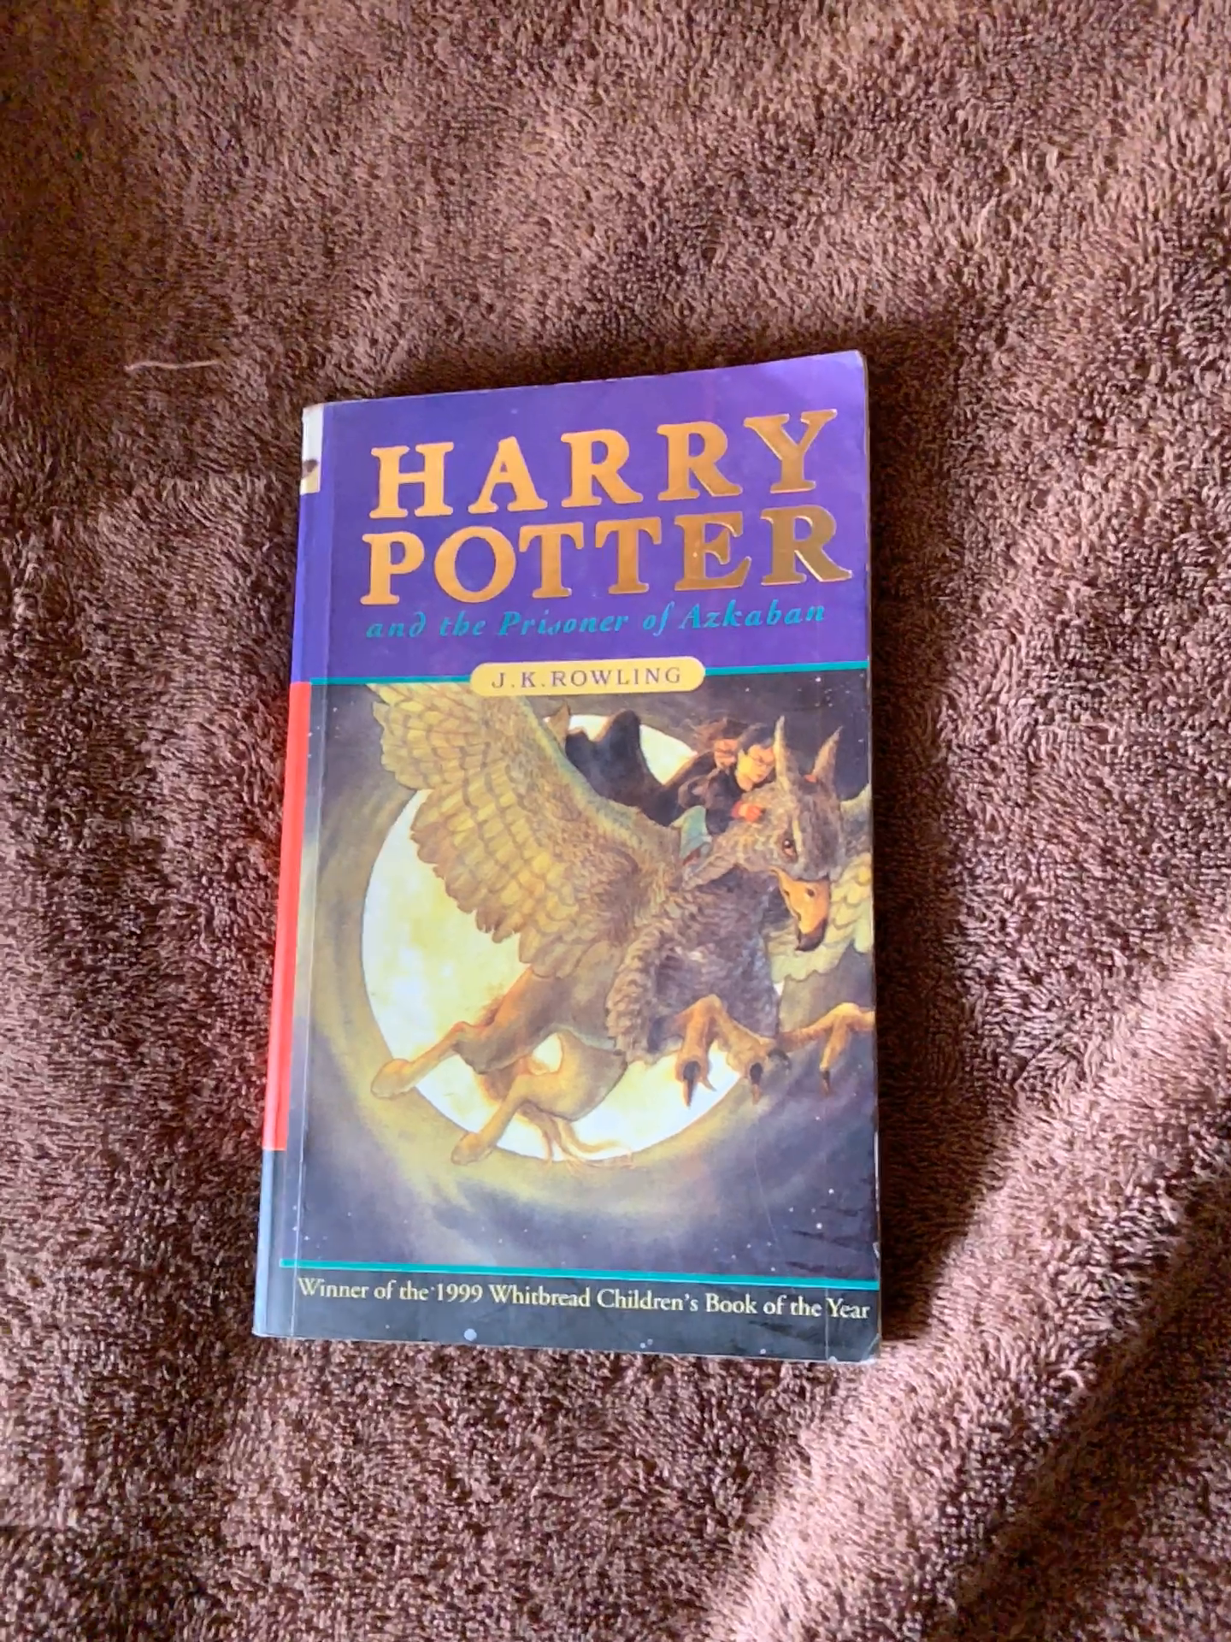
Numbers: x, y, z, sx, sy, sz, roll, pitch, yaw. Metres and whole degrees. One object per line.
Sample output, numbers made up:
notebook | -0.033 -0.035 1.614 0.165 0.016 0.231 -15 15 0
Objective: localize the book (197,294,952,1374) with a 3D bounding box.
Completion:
book | -0.010 0.002 0.233 0.130 0.020 0.180 -2 85 10
